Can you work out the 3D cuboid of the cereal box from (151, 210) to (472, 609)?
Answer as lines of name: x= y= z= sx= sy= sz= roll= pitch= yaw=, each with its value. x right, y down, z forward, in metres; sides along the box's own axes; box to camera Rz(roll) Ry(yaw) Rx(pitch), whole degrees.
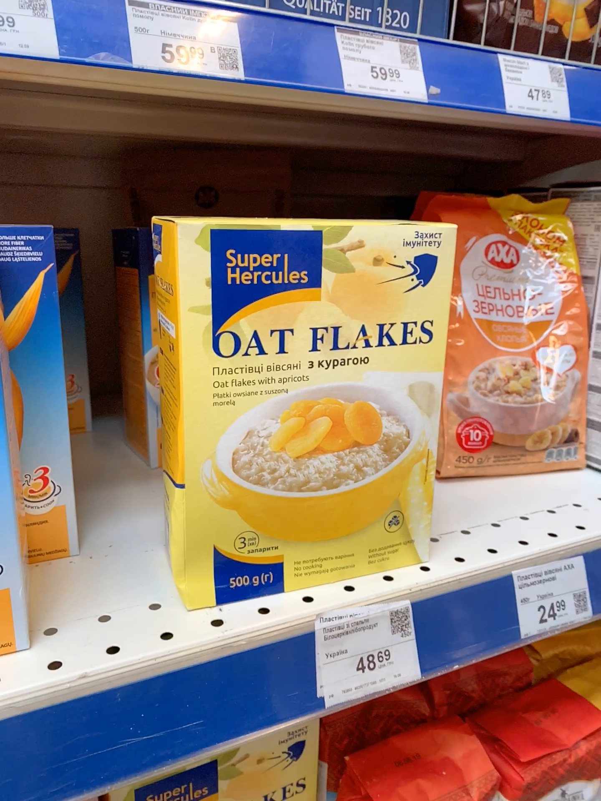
cereal box: x=0.003 y=-0.003 z=0.339 sx=0.150 sy=0.189 sz=0.060 roll=-5 pitch=17 yaw=-22
